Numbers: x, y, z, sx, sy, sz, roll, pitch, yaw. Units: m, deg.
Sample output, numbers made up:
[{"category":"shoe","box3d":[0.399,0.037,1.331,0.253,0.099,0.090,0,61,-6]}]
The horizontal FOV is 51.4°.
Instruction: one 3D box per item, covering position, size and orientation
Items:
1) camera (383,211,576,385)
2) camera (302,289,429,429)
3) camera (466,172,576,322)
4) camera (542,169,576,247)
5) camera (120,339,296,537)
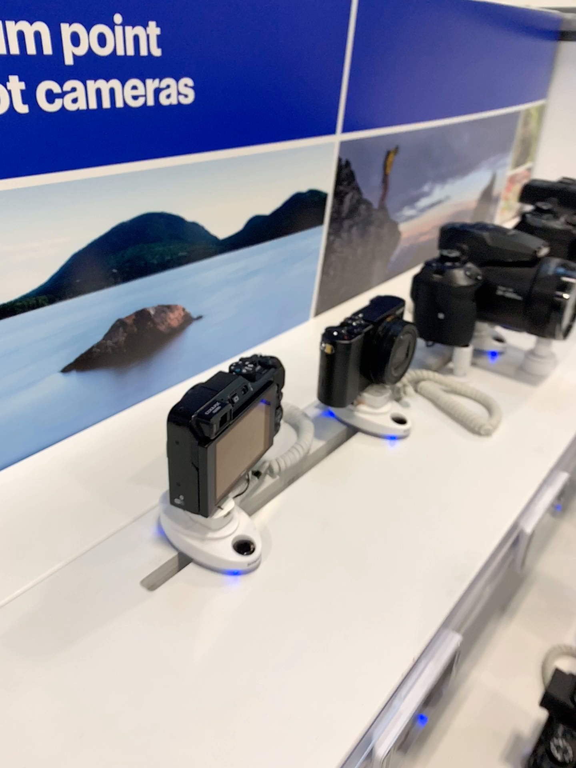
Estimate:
[{"category":"camera","box3d":[0.206,-0.097,0.604,0.151,0.099,0.160,22,36,32]},{"category":"camera","box3d":[0.065,-0.025,0.498,0.050,0.070,0.110,22,36,32]},{"category":"camera","box3d":[0.366,-0.181,0.745,0.221,0.109,0.160,21,35,31]},{"category":"camera","box3d":[0.460,-0.283,0.954,0.060,0.089,0.120,18,34,28]},{"category":"camera","box3d":[-0.046,0.029,0.398,0.050,0.070,0.120,16,33,25]}]
